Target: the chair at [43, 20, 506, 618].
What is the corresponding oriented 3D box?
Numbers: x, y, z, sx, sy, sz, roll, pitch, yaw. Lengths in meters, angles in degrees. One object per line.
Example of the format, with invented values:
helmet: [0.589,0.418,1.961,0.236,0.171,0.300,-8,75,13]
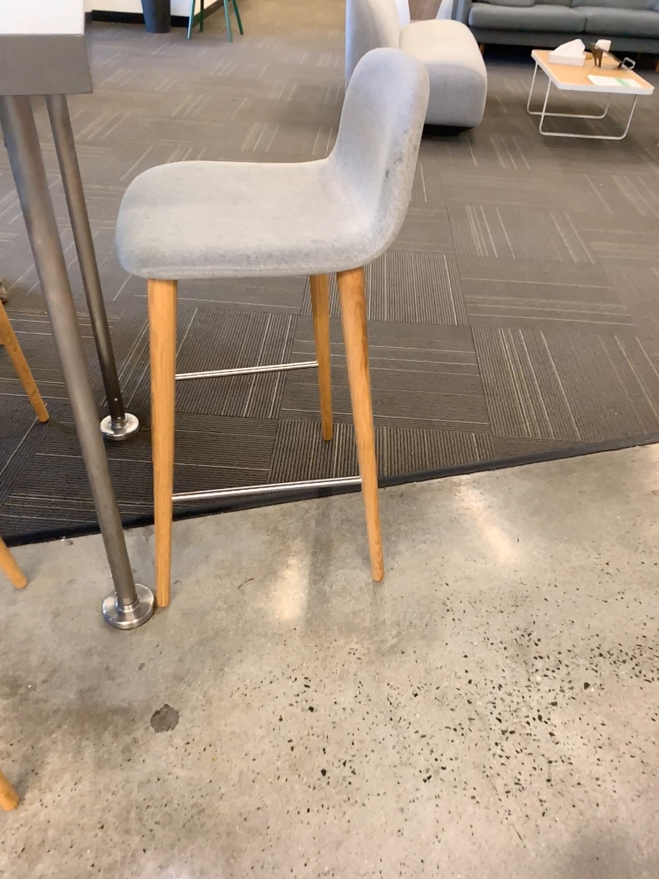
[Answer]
chair: [-0.131,-0.221,1.310,0.550,0.924,0.594,-5,40,-11]
